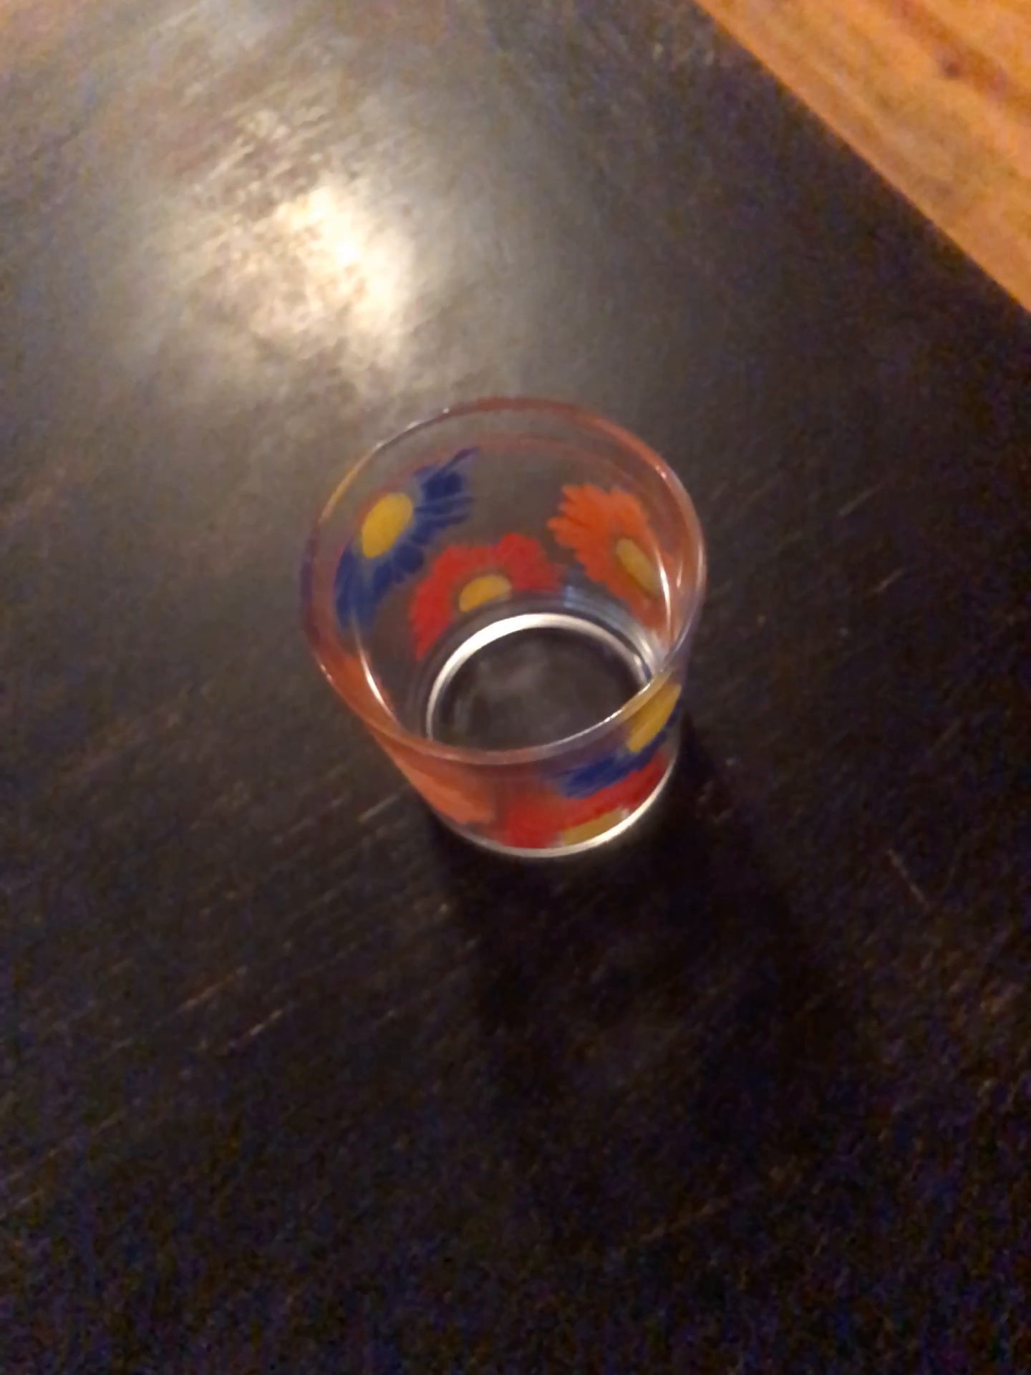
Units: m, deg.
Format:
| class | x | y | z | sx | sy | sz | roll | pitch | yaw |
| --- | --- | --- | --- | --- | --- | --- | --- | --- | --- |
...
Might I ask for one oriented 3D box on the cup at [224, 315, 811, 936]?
| class | x | y | z | sx | sy | sz | roll | pitch | yaw |
| --- | --- | --- | --- | --- | --- | --- | --- | --- | --- |
| cup | 0.002 | -0.009 | 0.245 | 0.076 | 0.079 | 0.078 | -2 | 68 | 5 |
